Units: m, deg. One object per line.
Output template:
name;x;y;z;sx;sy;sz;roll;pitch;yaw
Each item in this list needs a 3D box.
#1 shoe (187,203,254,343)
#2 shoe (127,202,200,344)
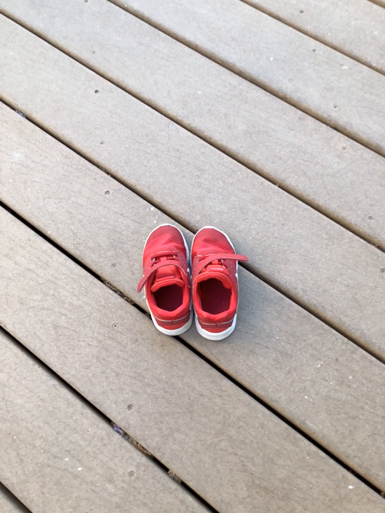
shoe;0.033;0.025;0.563;0.077;0.087;0.167;-1;70;1
shoe;-0.038;0.025;0.573;0.077;0.087;0.167;-6;70;-1
